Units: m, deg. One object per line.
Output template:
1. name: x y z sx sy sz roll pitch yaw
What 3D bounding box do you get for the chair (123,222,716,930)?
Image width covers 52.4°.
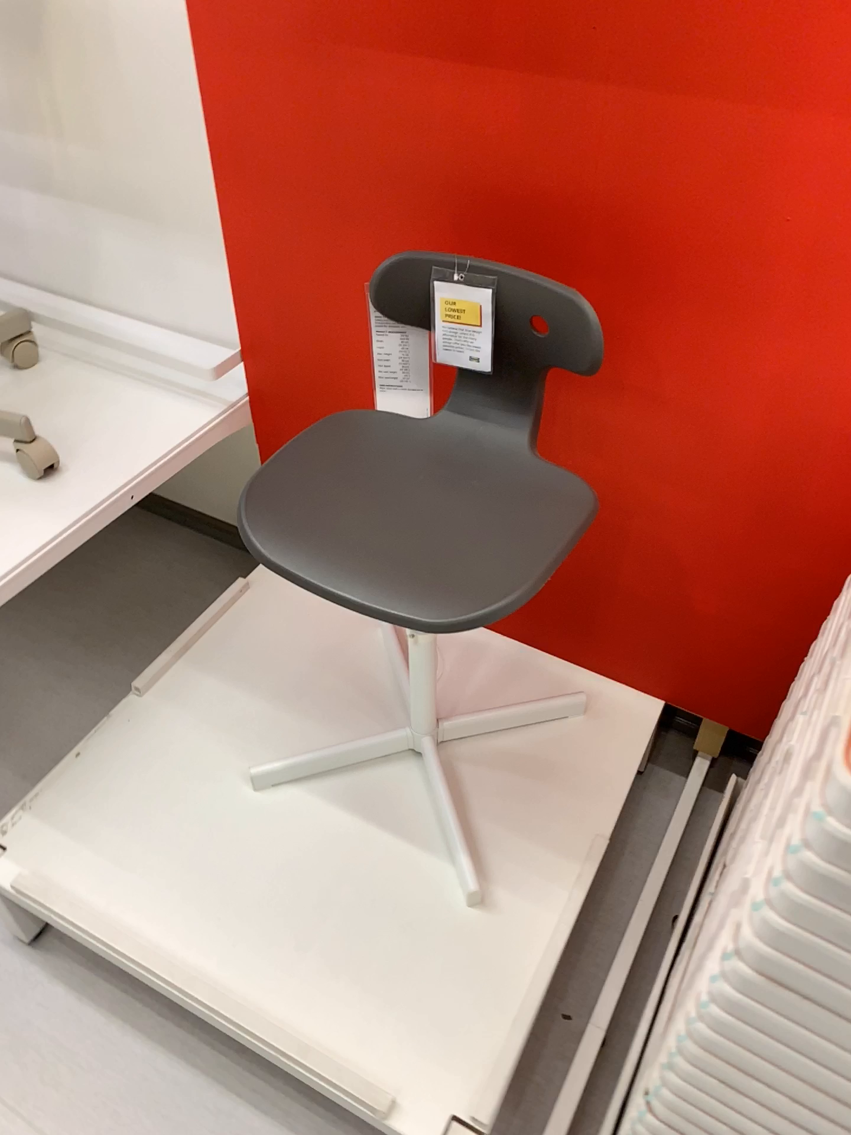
1. chair: 0.015 0.013 1.140 0.461 0.697 0.451 20 46 21
